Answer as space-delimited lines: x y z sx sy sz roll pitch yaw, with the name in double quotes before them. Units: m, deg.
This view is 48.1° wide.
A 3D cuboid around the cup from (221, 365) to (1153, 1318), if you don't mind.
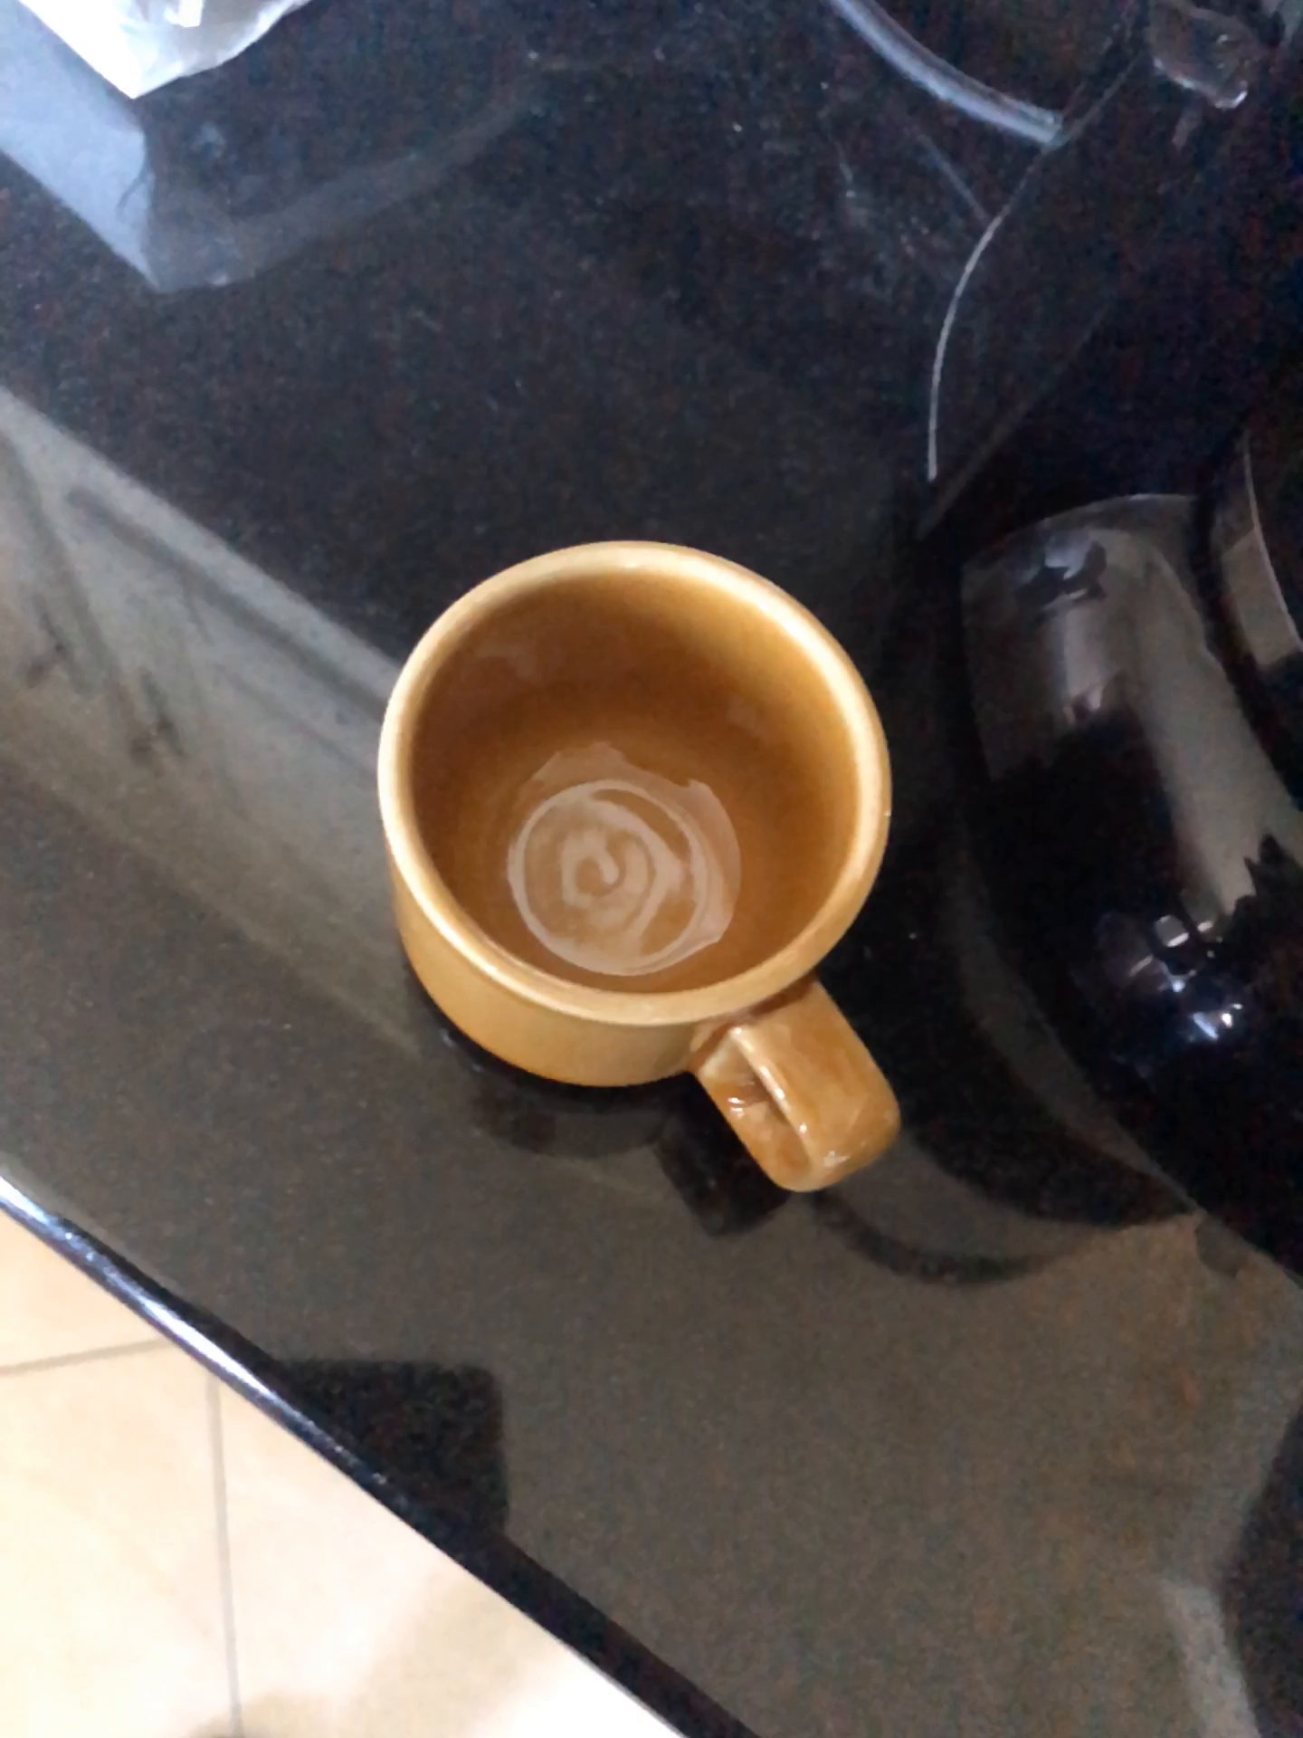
"cup" 0.001 -0.003 0.202 0.070 0.050 0.100 -32 77 -17
